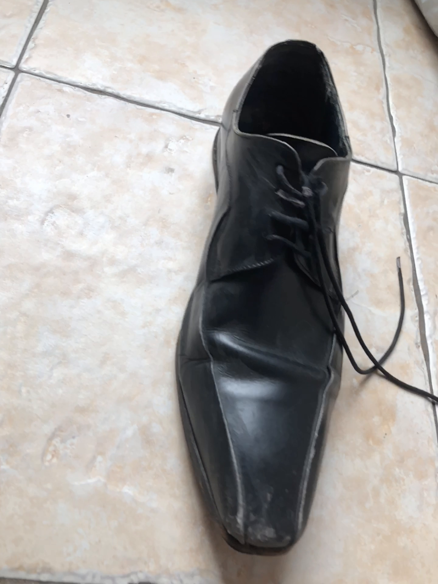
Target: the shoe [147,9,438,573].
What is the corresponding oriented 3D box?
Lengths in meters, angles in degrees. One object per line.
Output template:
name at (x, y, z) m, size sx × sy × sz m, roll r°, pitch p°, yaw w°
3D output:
shoe at (0.042, -0.017, 0.273) m, size 0.100 × 0.090 × 0.291 m, roll 13°, pitch 60°, yaw -9°
